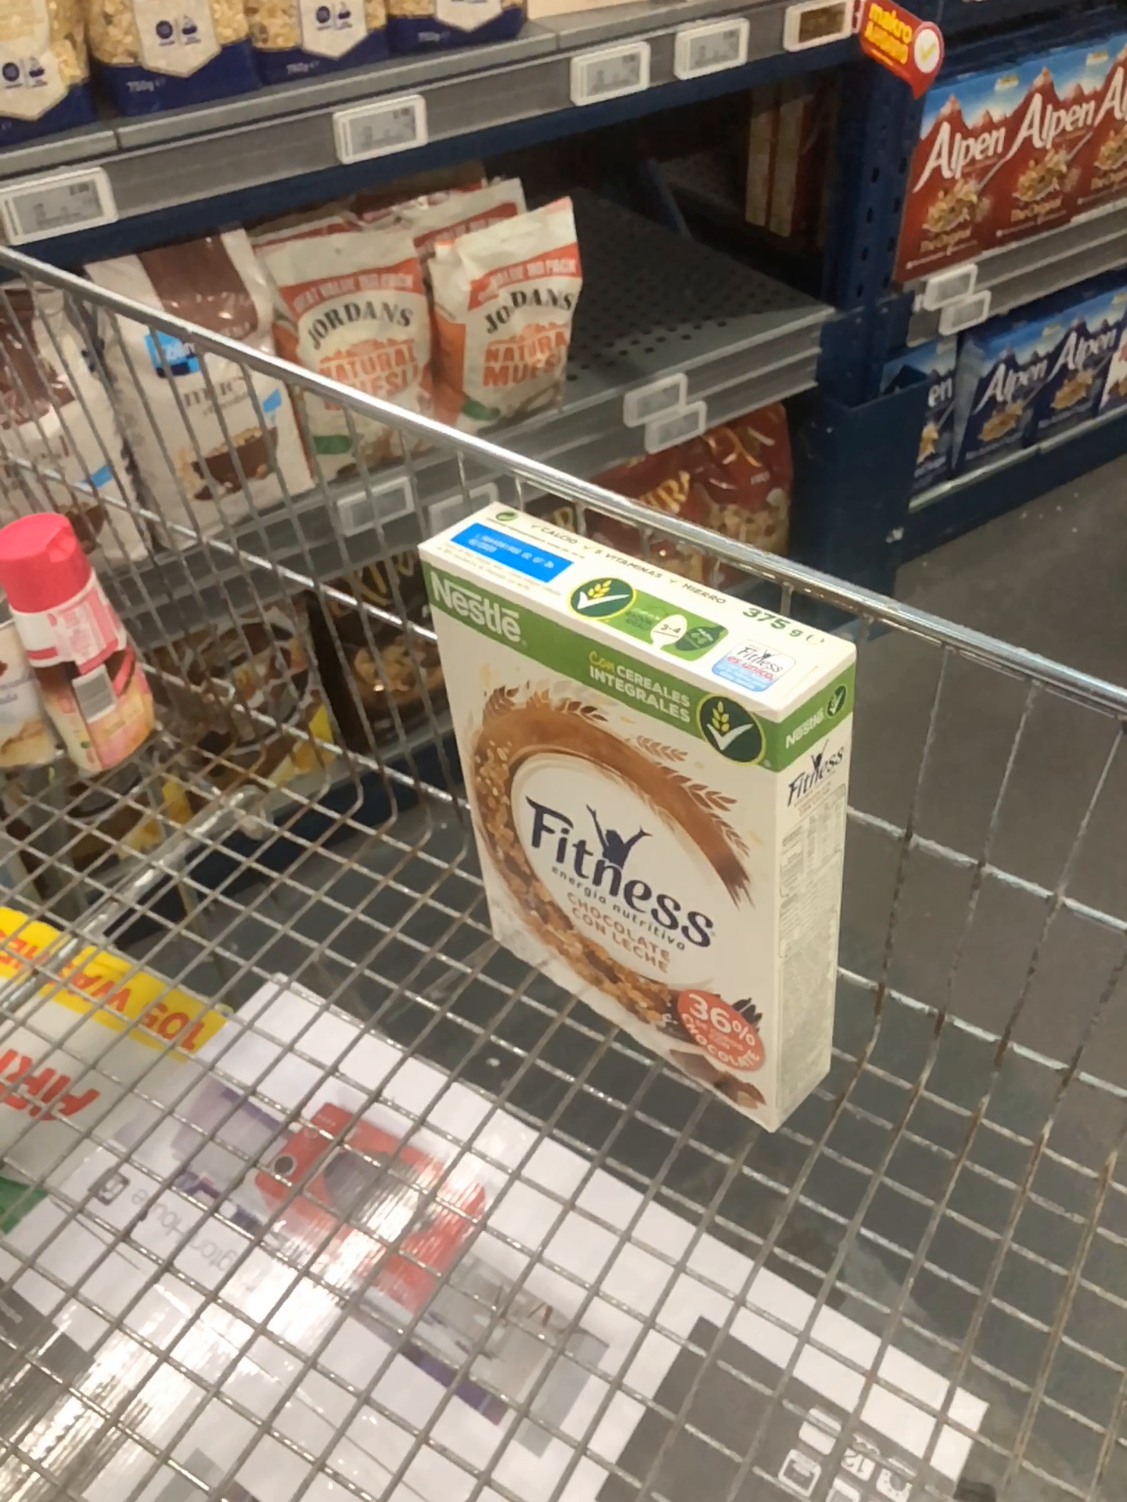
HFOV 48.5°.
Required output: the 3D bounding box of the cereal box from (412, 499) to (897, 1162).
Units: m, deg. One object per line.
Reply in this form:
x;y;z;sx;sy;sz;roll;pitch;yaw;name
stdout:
0.039;0.039;0.578;0.200;0.259;0.060;28;51;35;cereal box
